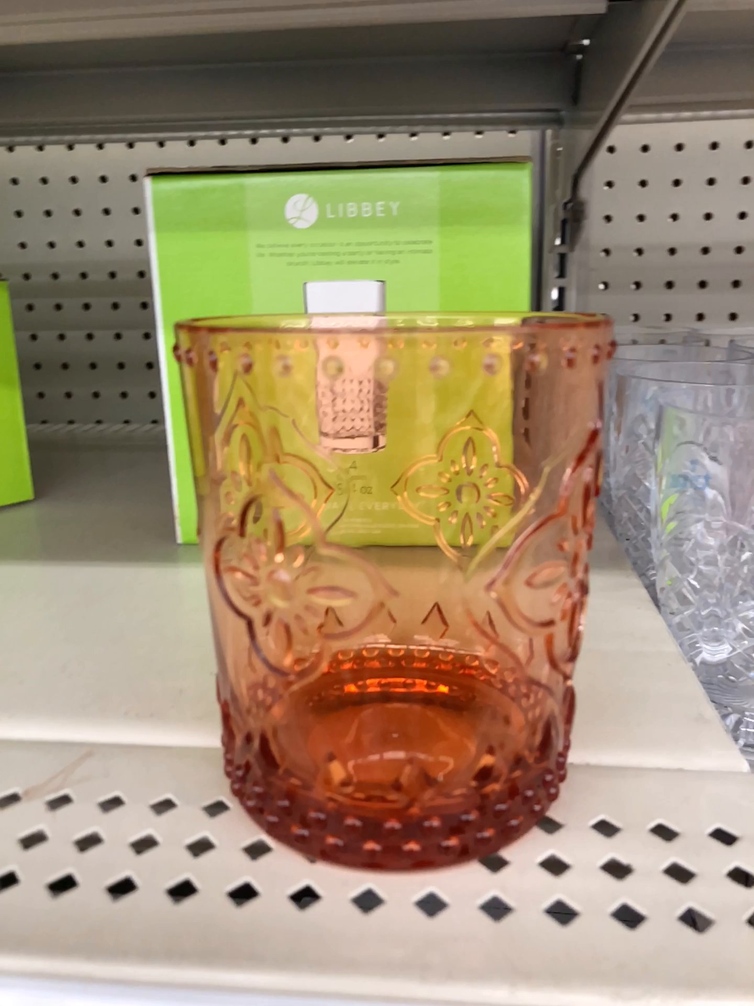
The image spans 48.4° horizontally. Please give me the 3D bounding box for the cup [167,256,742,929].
[{"bbox_3d":[0.007,0.006,0.179,0.090,0.110,0.080,-5,15,-15],"label":"cup"}]
